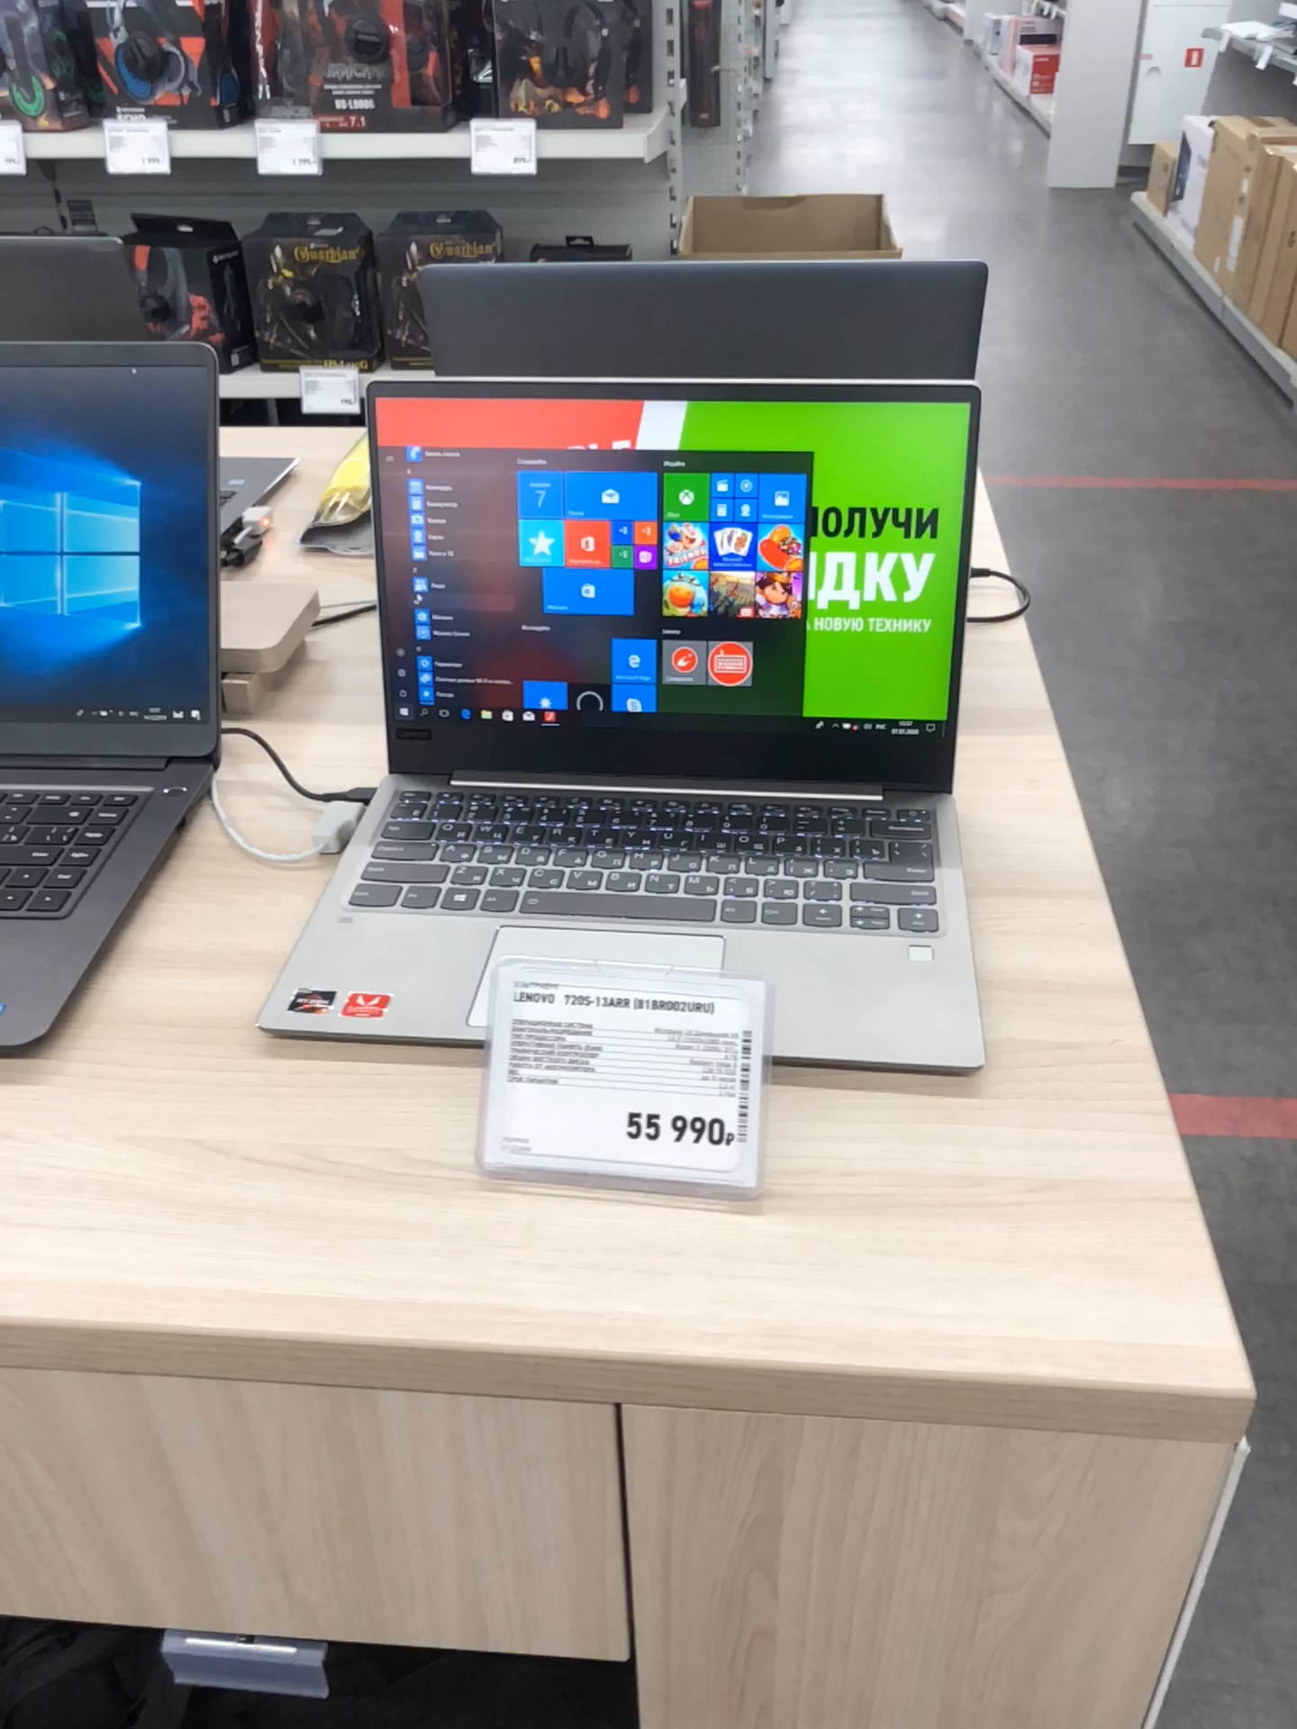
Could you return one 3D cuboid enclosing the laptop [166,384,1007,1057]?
[{"bbox_3d":[-0.008,-0.081,0.636,0.285,0.187,0.263,2,34,6],"label":"laptop"}]

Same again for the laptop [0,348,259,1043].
[{"bbox_3d":[-0.423,-0.104,0.687,0.344,0.188,0.341,1,34,4],"label":"laptop"}]
